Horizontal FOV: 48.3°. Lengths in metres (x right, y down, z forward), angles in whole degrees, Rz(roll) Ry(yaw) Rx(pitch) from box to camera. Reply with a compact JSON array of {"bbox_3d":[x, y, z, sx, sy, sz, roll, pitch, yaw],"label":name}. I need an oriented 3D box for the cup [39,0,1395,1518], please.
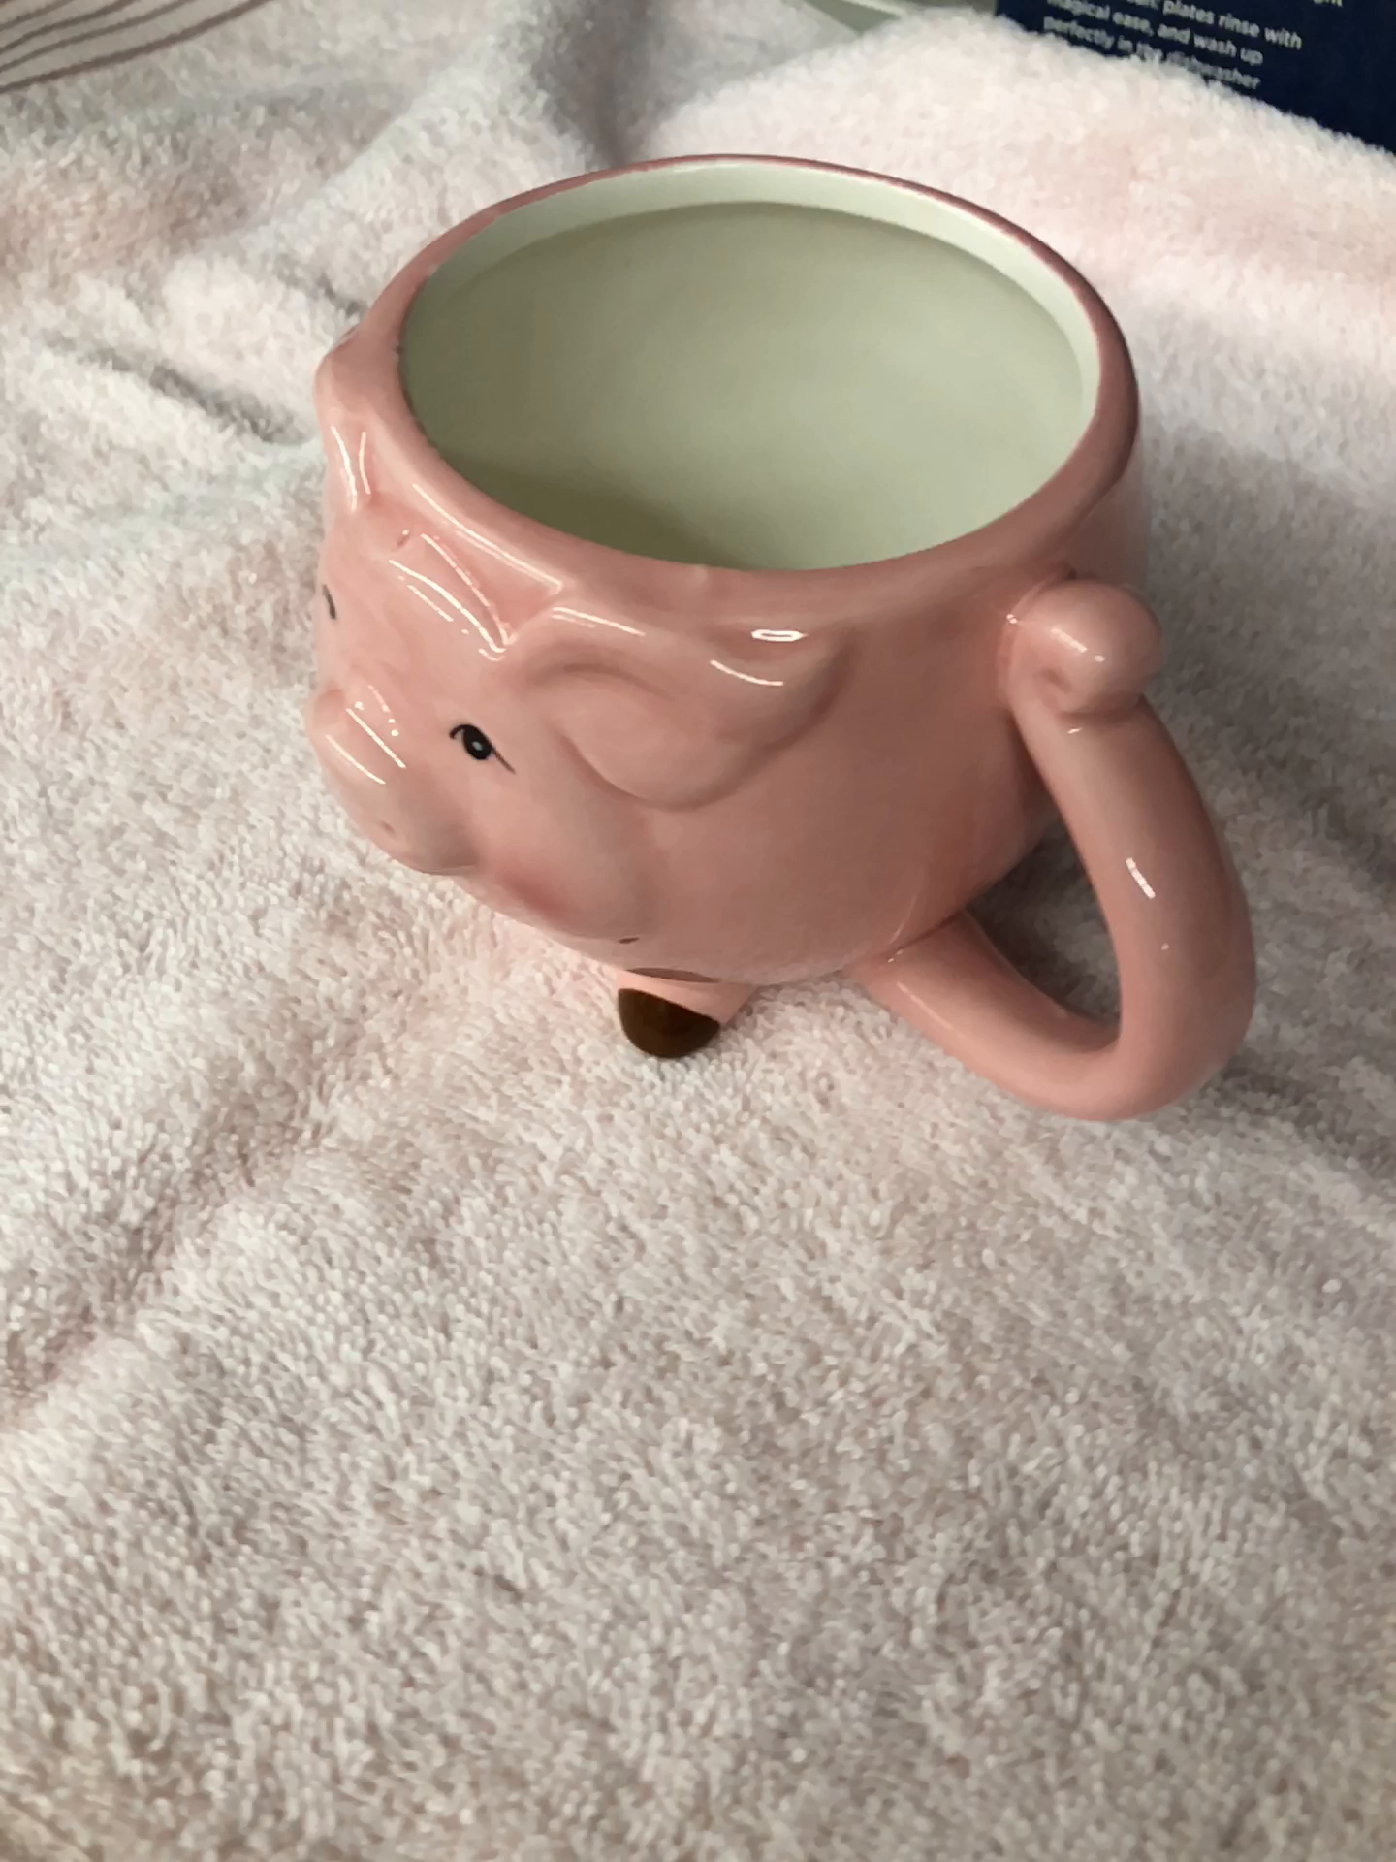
[{"bbox_3d":[0.010,-0.032,0.196,0.100,0.090,0.151,-31,60,-20],"label":"cup"}]
